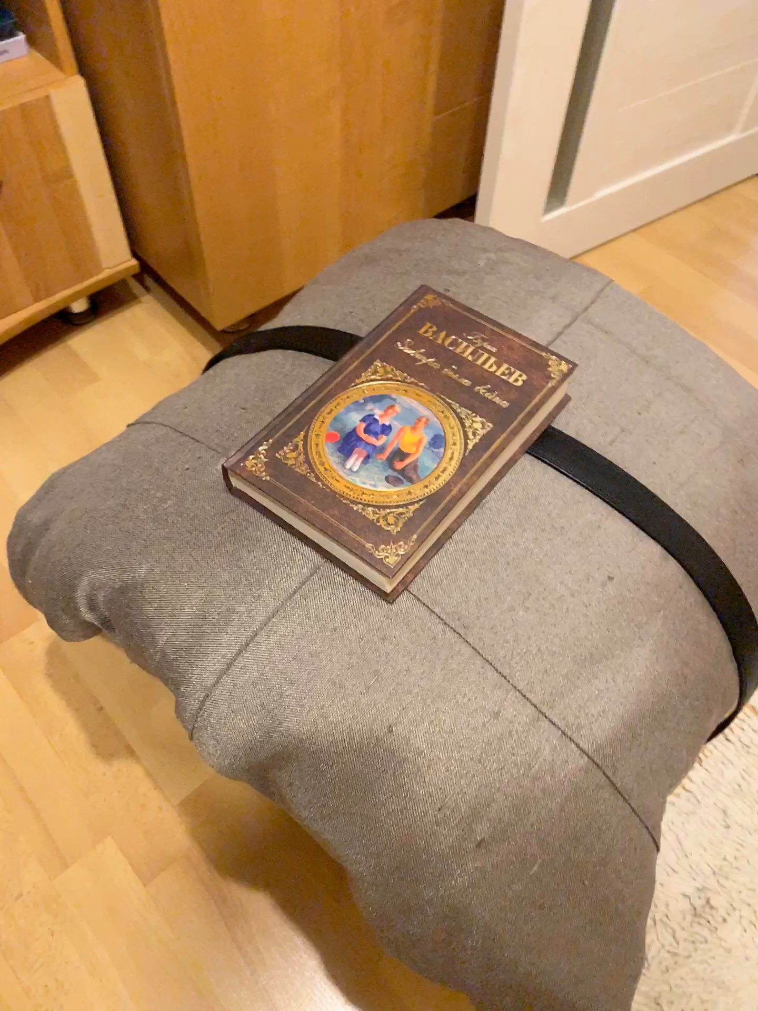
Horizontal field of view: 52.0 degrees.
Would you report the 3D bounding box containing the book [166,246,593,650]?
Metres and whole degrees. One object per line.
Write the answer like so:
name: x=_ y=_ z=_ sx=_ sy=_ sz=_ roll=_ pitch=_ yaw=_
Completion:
book: x=0.006 y=-0.047 z=0.467 sx=0.140 sy=0.050 sz=0.221 roll=33 pitch=65 yaw=20
